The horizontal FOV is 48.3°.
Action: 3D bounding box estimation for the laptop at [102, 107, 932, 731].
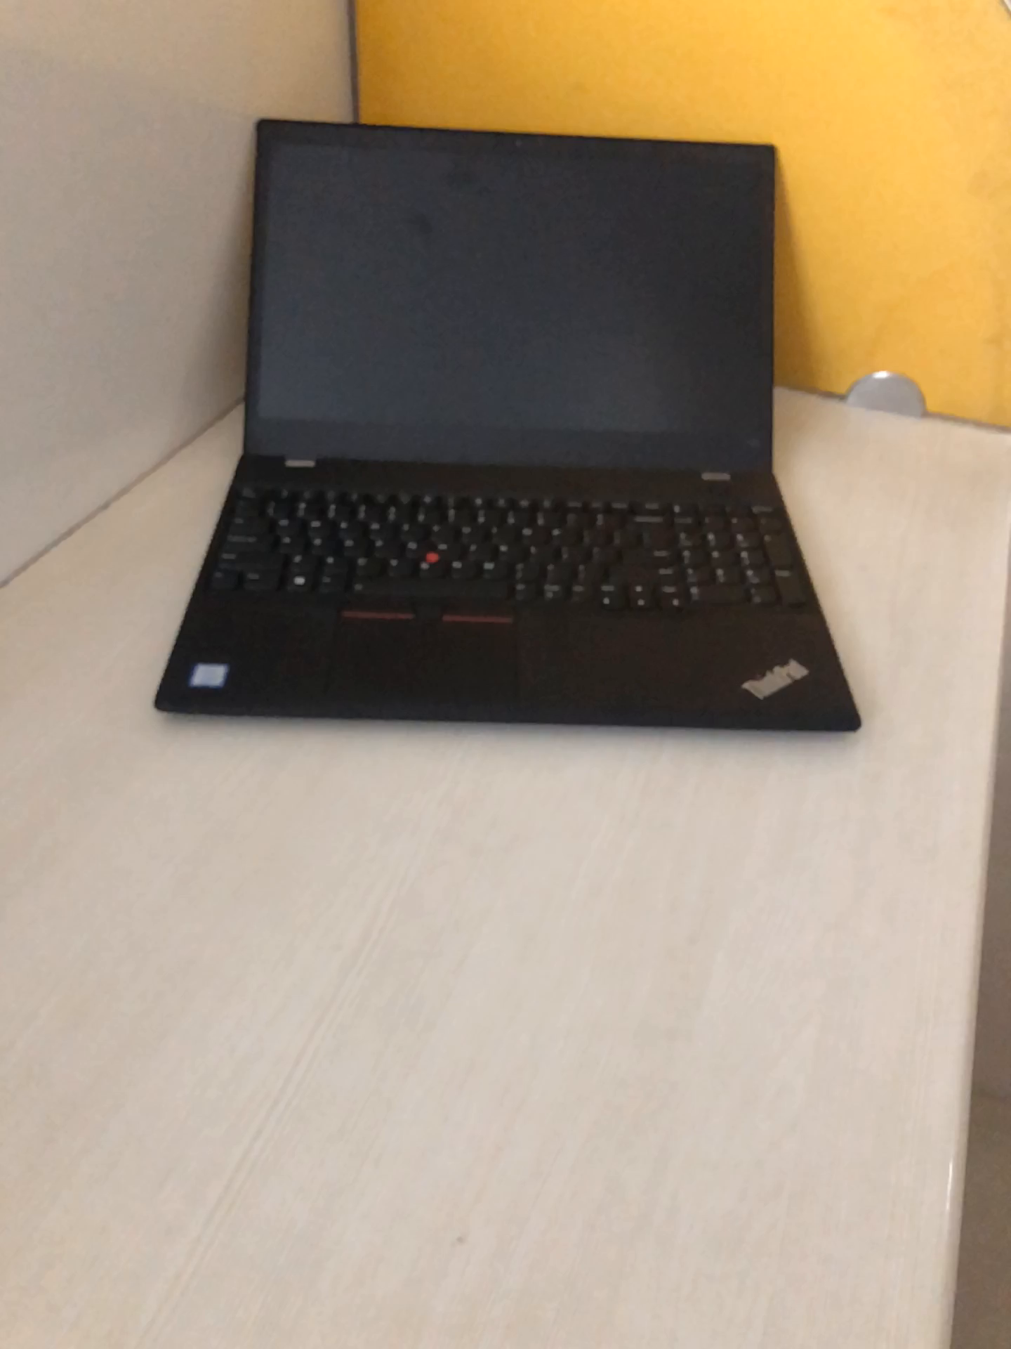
[{"bbox_3d":[0.002,-0.180,0.670,0.344,0.150,0.423,2,42,-2],"label":"laptop"}]
